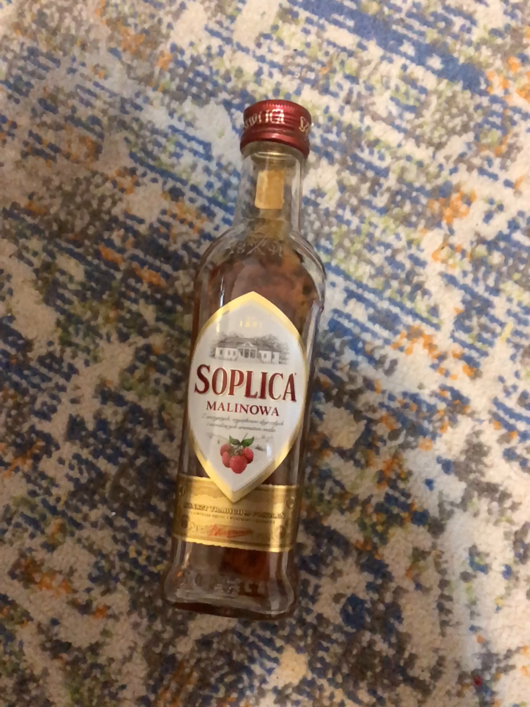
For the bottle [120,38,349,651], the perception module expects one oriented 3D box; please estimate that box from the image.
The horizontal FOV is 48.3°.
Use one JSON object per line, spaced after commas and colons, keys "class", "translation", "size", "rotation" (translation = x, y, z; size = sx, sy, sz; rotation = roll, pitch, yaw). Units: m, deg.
{"class": "bottle", "translation": [-0.008, -0.007, 0.226], "size": [0.060, 0.040, 0.210], "rotation": [5, 86, 7]}
